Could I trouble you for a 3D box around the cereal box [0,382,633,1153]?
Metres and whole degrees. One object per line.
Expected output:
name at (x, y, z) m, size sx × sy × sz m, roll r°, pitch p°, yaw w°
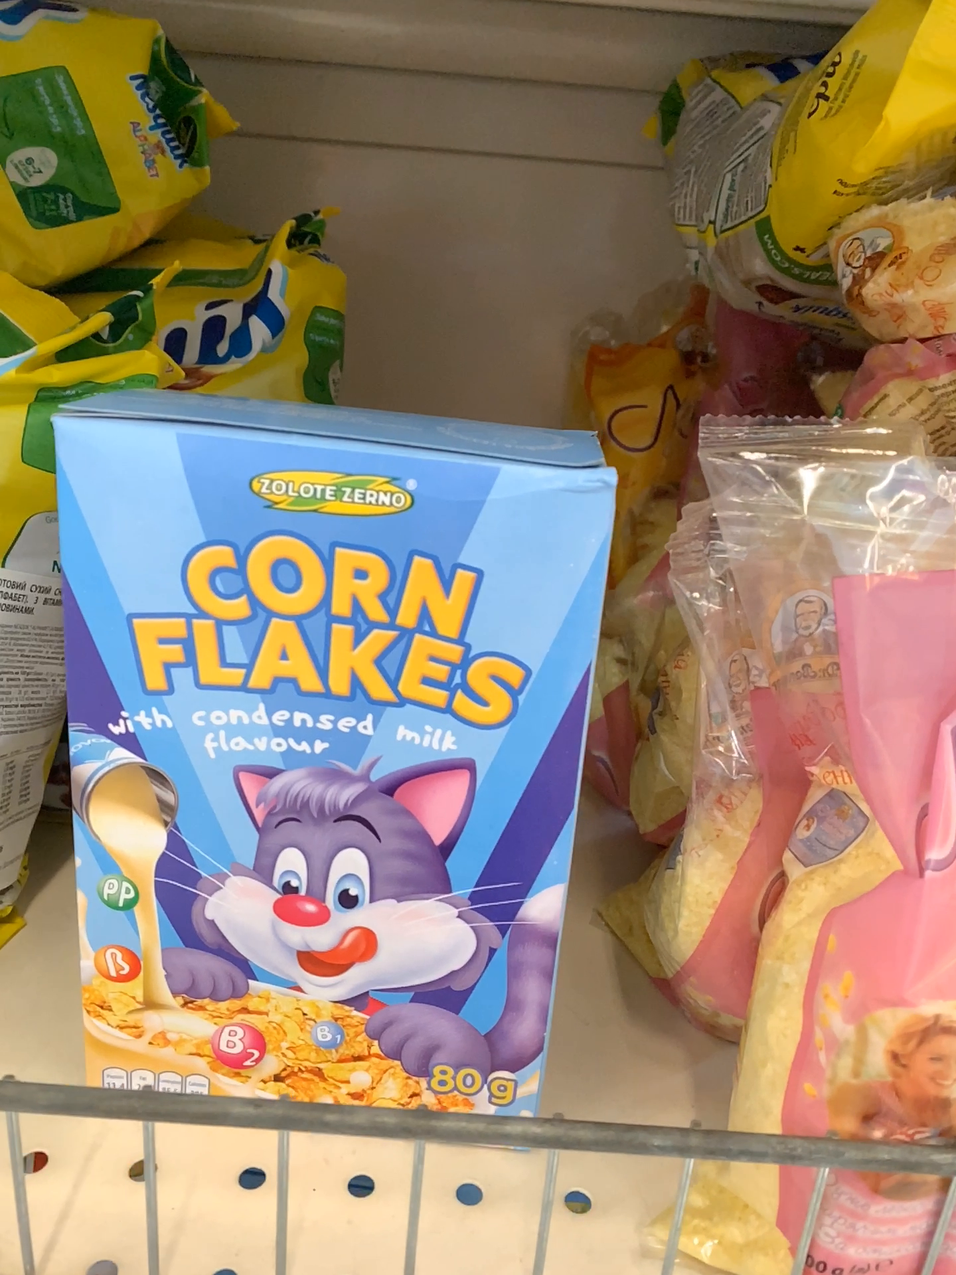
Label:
cereal box at (-0.037, 0.030, 0.227) m, size 0.120 × 0.159 × 0.050 m, roll 4°, pitch 18°, yaw 0°
